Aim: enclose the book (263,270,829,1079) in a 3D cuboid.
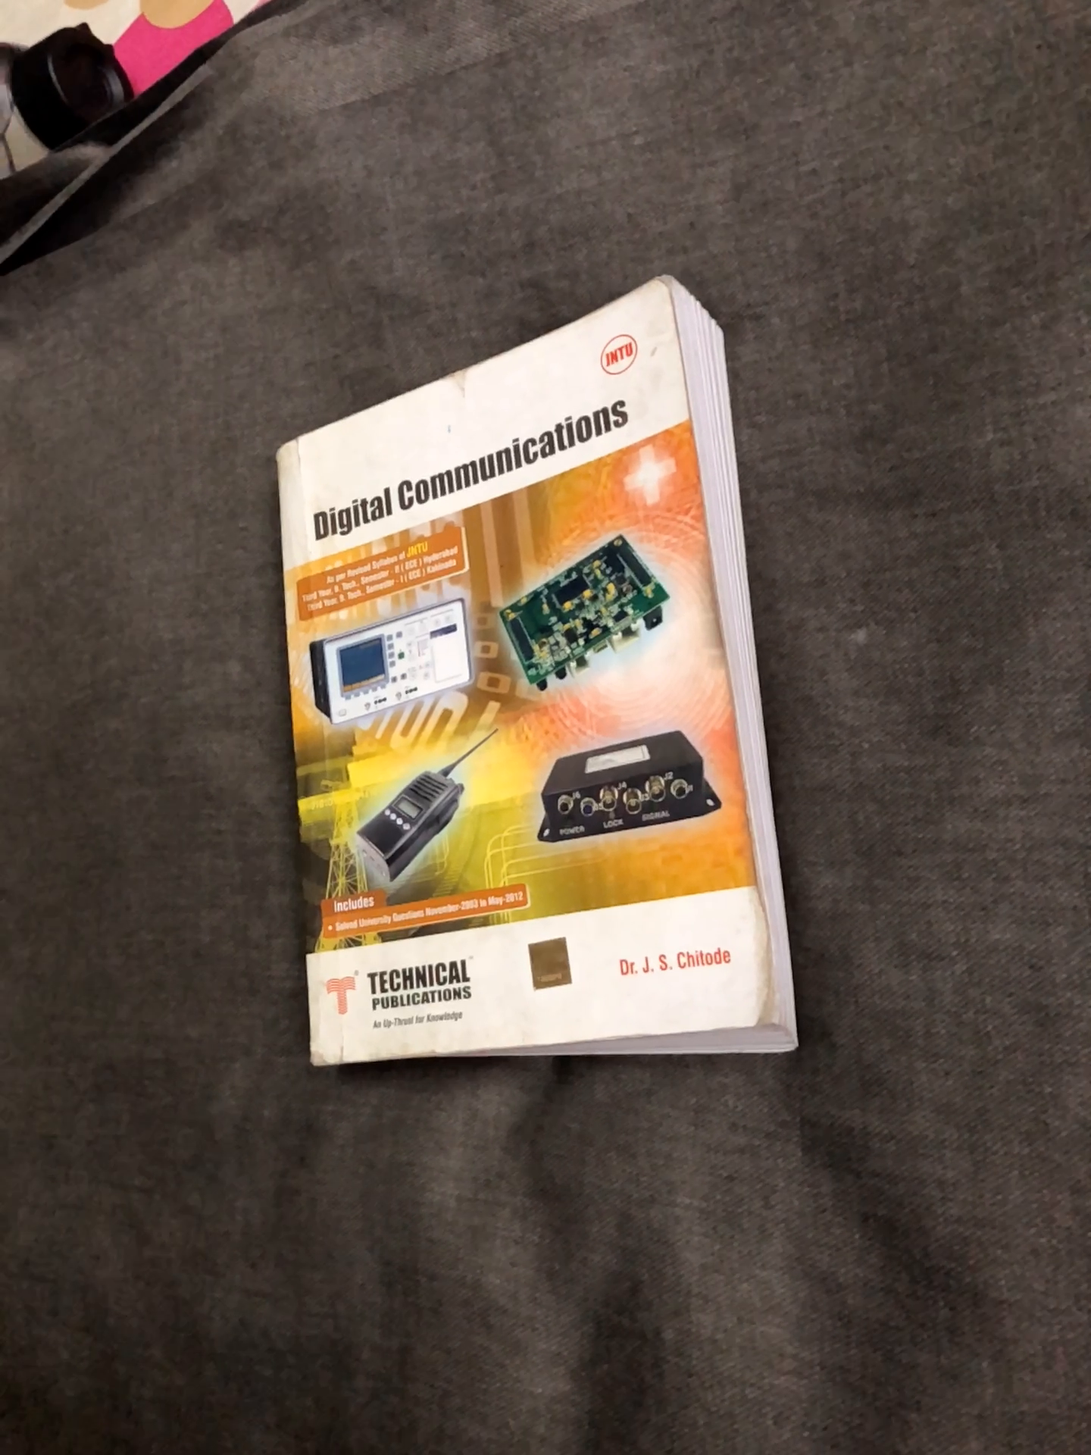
[{"bbox_3d":[-0.012,-0.006,0.425,0.182,0.050,0.241,-12,77,32],"label":"book"}]
